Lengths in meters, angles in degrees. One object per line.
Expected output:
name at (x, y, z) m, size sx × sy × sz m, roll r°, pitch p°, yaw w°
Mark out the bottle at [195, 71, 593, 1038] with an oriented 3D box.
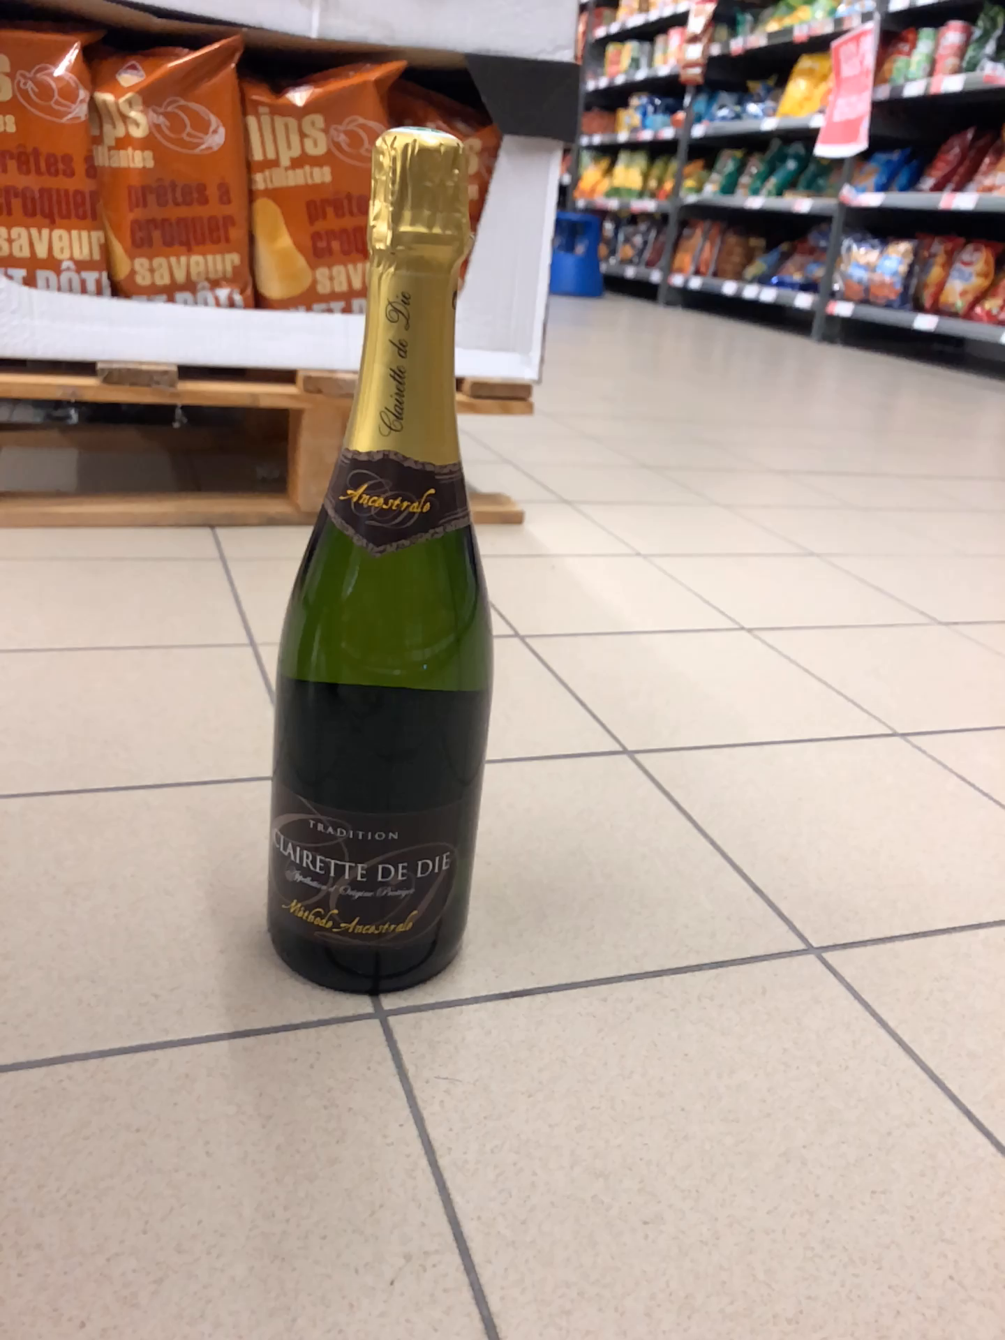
bottle at (-0.044, -0.036, 0.417) m, size 0.100 × 0.318 × 0.101 m, roll 5°, pitch 20°, yaw -2°
